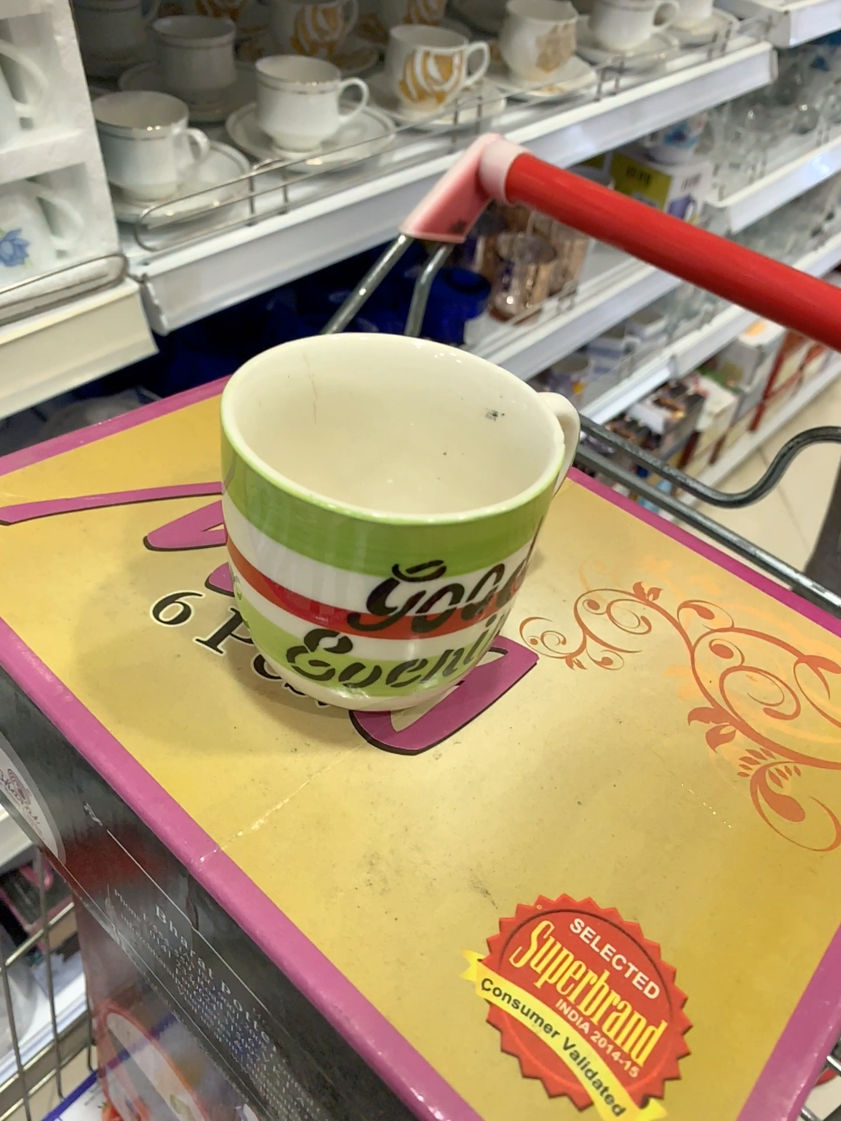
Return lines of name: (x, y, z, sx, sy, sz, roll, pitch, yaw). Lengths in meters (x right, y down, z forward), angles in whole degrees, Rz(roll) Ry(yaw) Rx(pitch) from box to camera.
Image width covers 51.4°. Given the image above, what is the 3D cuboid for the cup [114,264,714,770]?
cup: (-0.001, -0.021, 0.215, 0.110, 0.060, 0.080, -26, 49, -33)
